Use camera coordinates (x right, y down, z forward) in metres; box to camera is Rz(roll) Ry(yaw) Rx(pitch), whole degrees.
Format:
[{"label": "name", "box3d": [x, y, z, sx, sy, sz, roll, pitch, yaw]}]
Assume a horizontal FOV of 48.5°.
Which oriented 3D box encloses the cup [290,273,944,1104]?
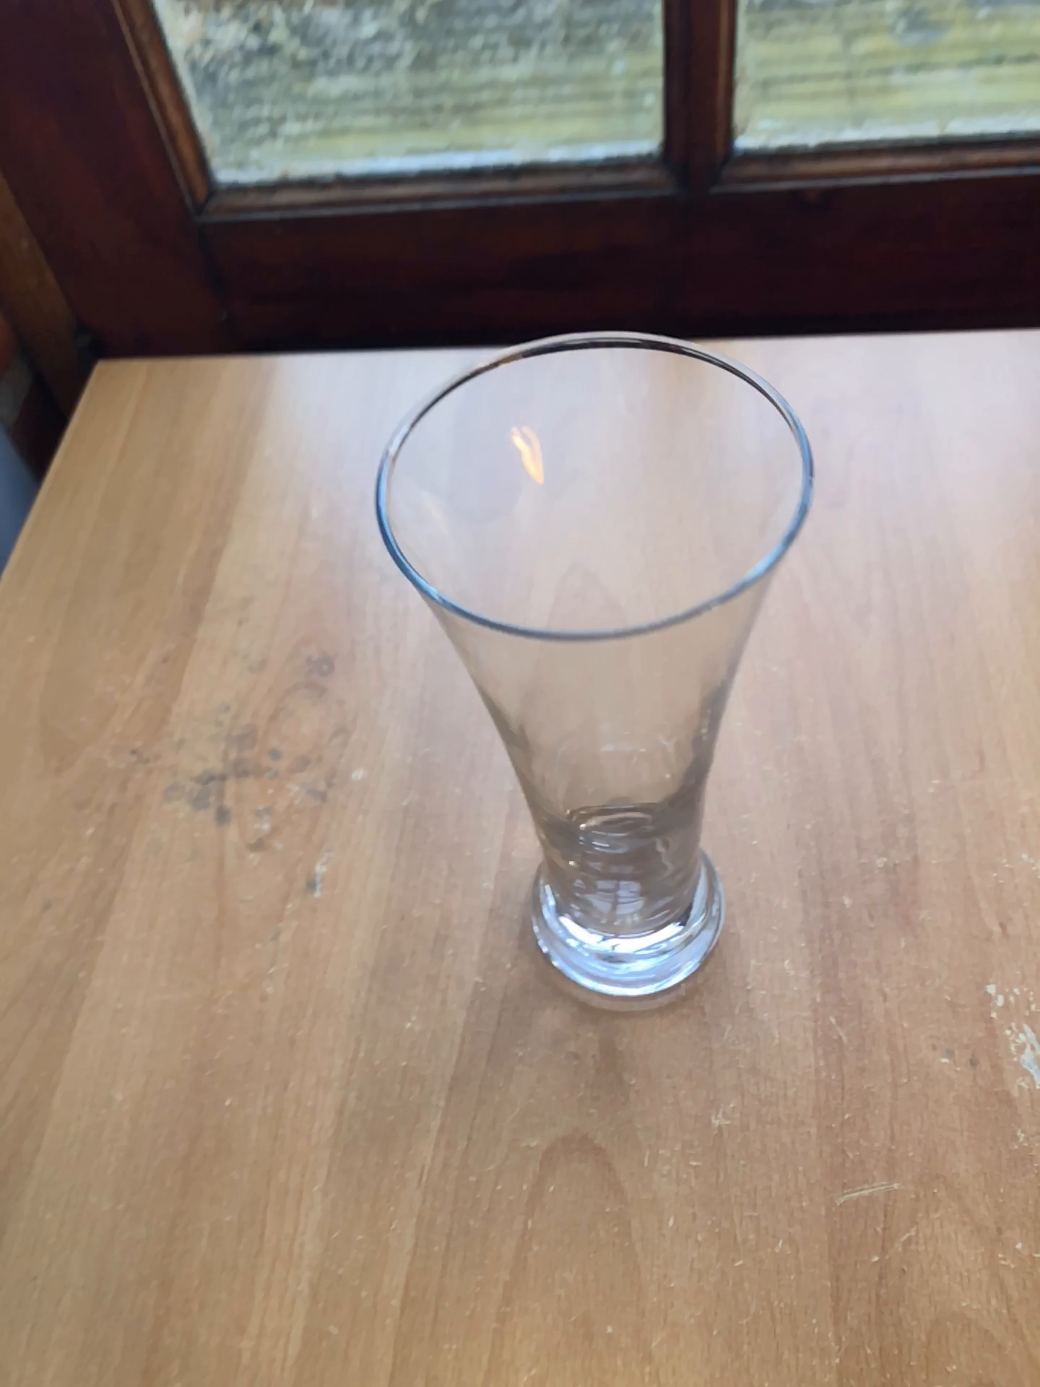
[{"label": "cup", "box3d": [0.022, 0.011, 0.265, 0.082, 0.168, 0.077, -3, 53, 4]}]
